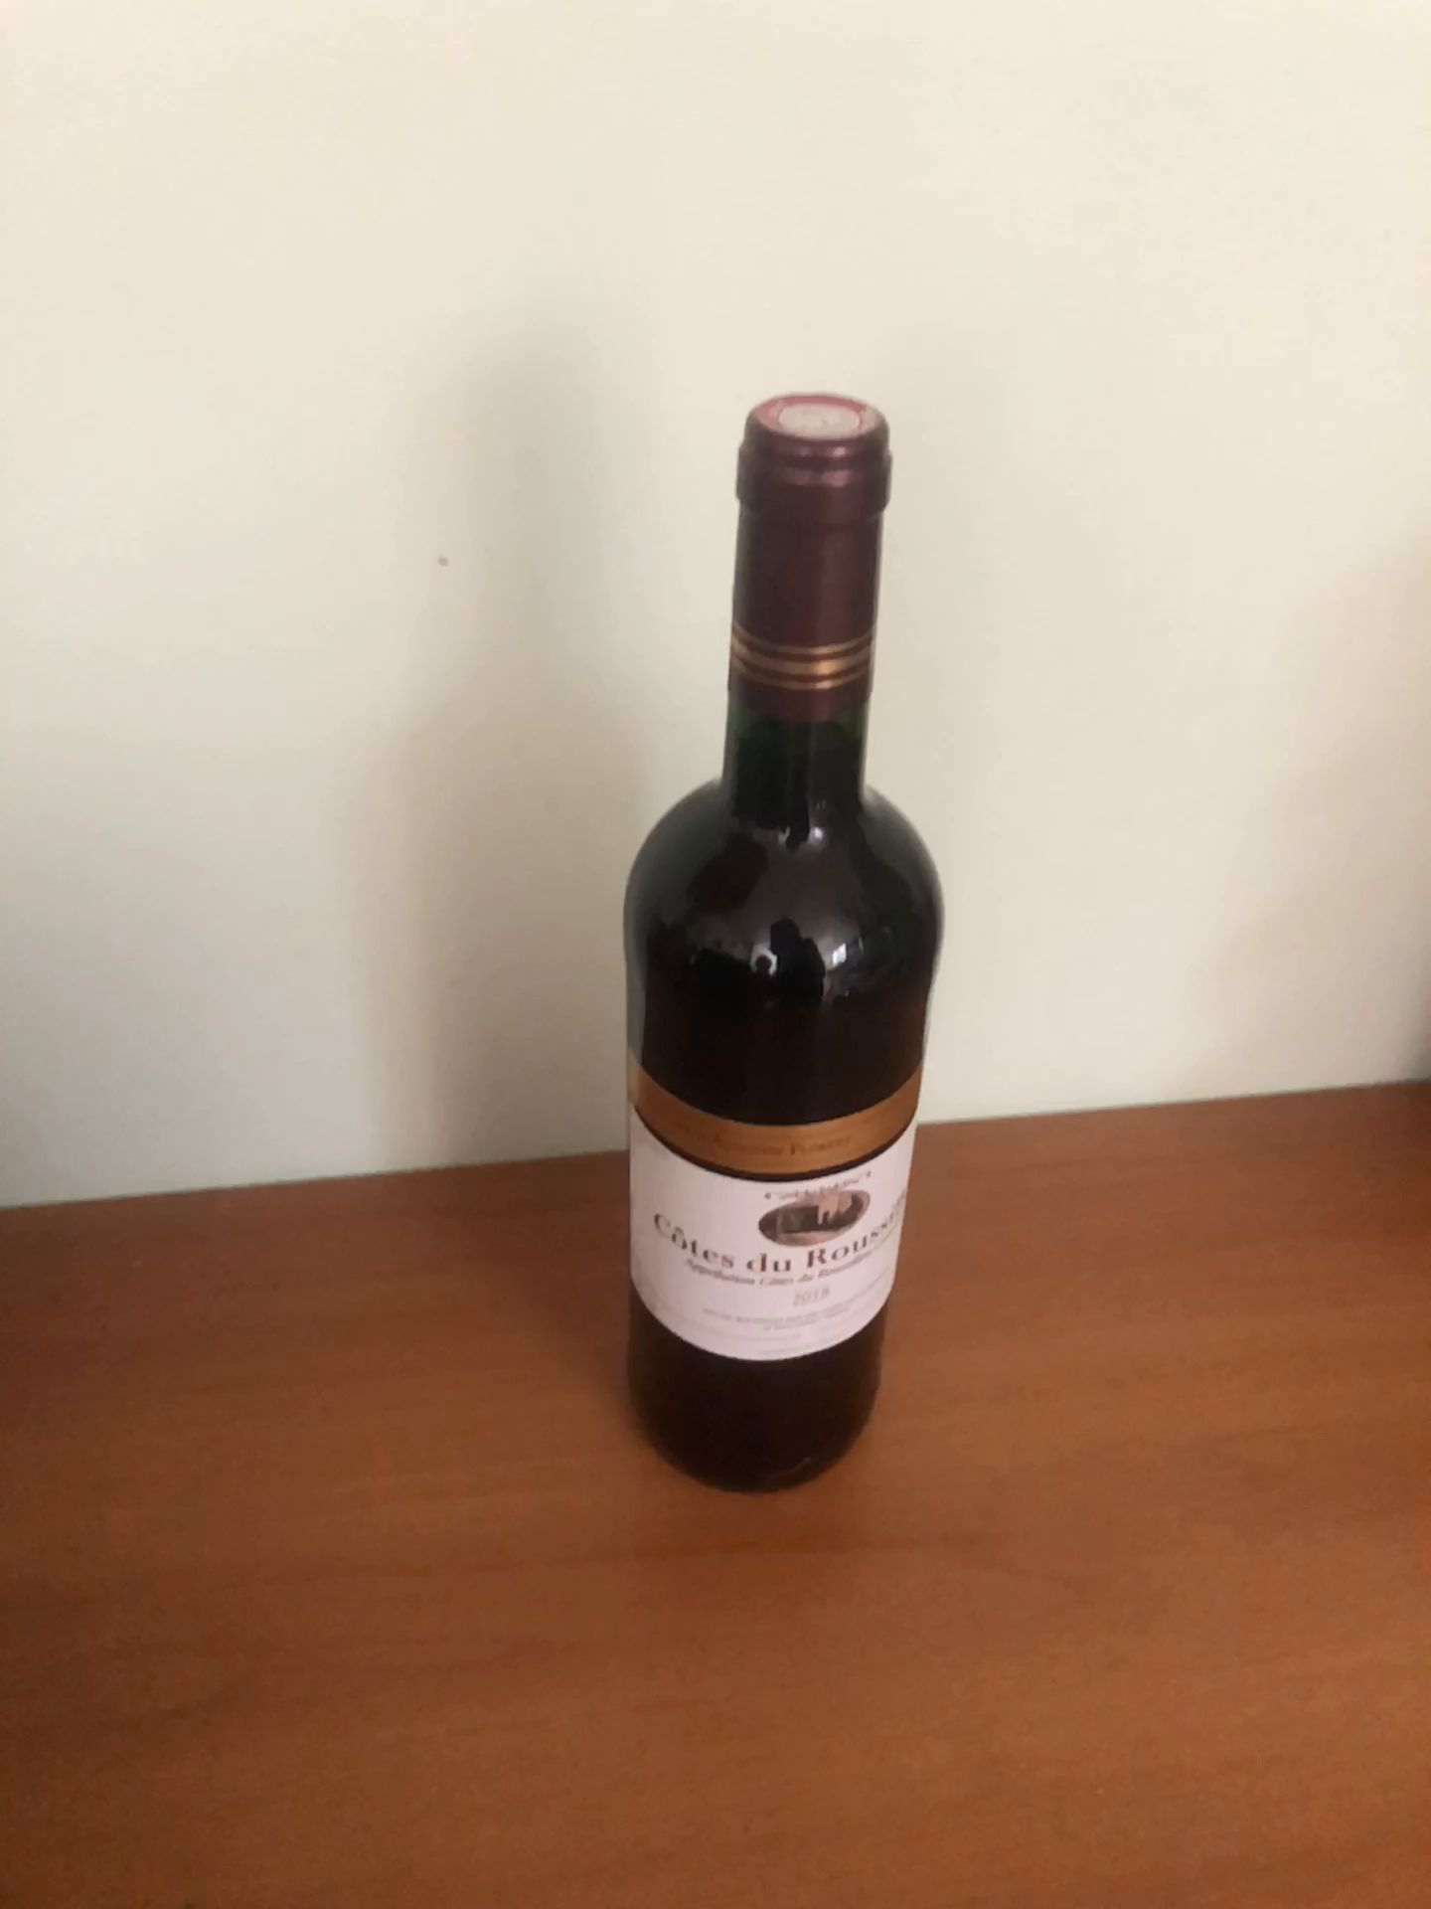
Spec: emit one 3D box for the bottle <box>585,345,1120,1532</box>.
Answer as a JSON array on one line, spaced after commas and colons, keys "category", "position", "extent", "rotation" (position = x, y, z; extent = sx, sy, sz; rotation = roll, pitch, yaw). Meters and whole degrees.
[{"category": "bottle", "position": [0.016, 0.016, 0.377], "extent": [0.080, 0.288, 0.080], "rotation": [1, 39, -1]}]
